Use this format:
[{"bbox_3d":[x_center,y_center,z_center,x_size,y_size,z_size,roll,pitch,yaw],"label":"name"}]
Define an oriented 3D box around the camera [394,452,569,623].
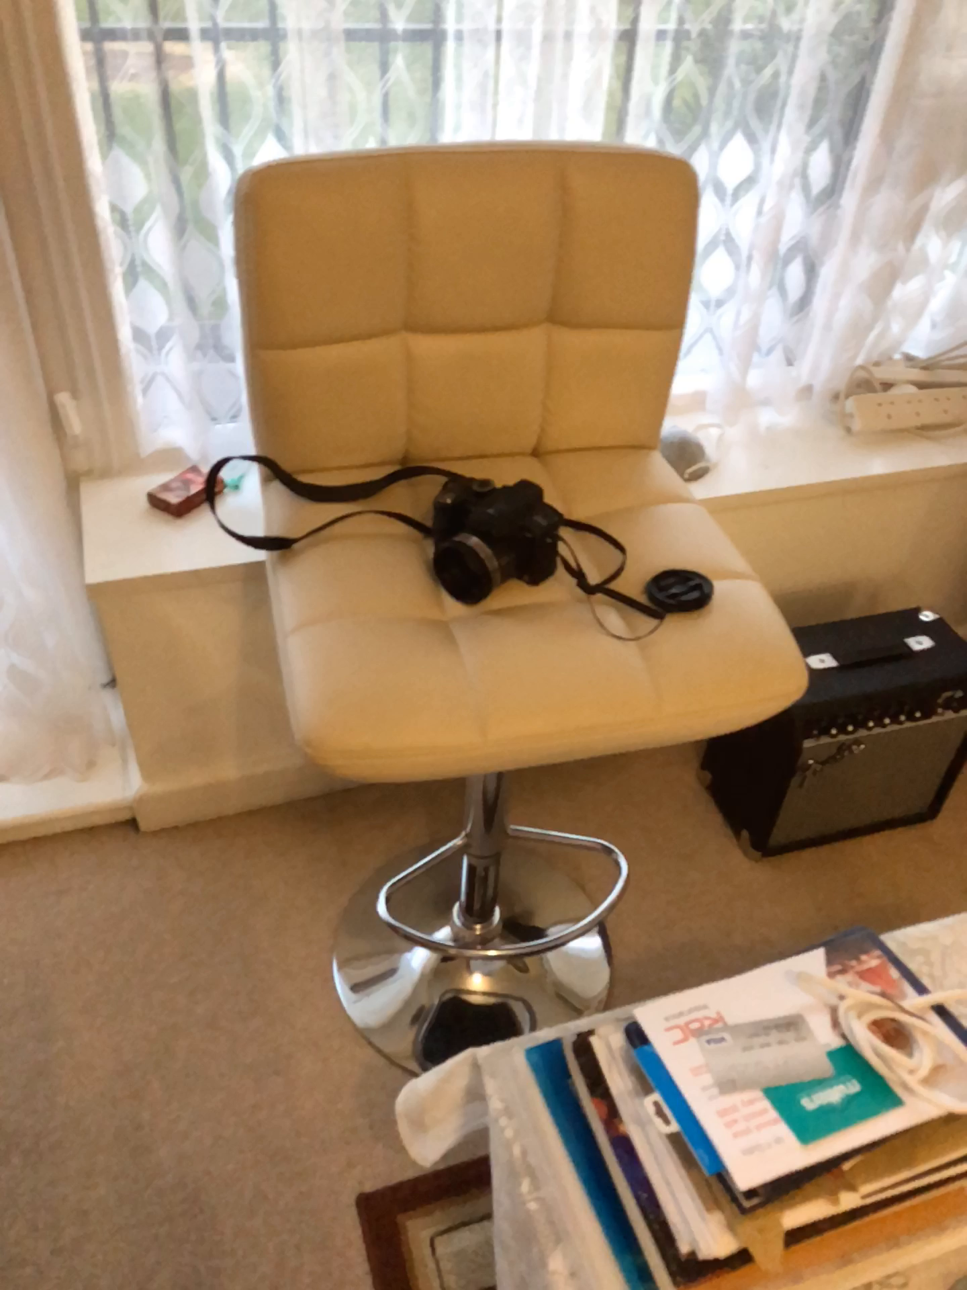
[{"bbox_3d":[-0.003,-0.095,0.899,0.112,0.076,0.098,26,46,23],"label":"camera"}]
